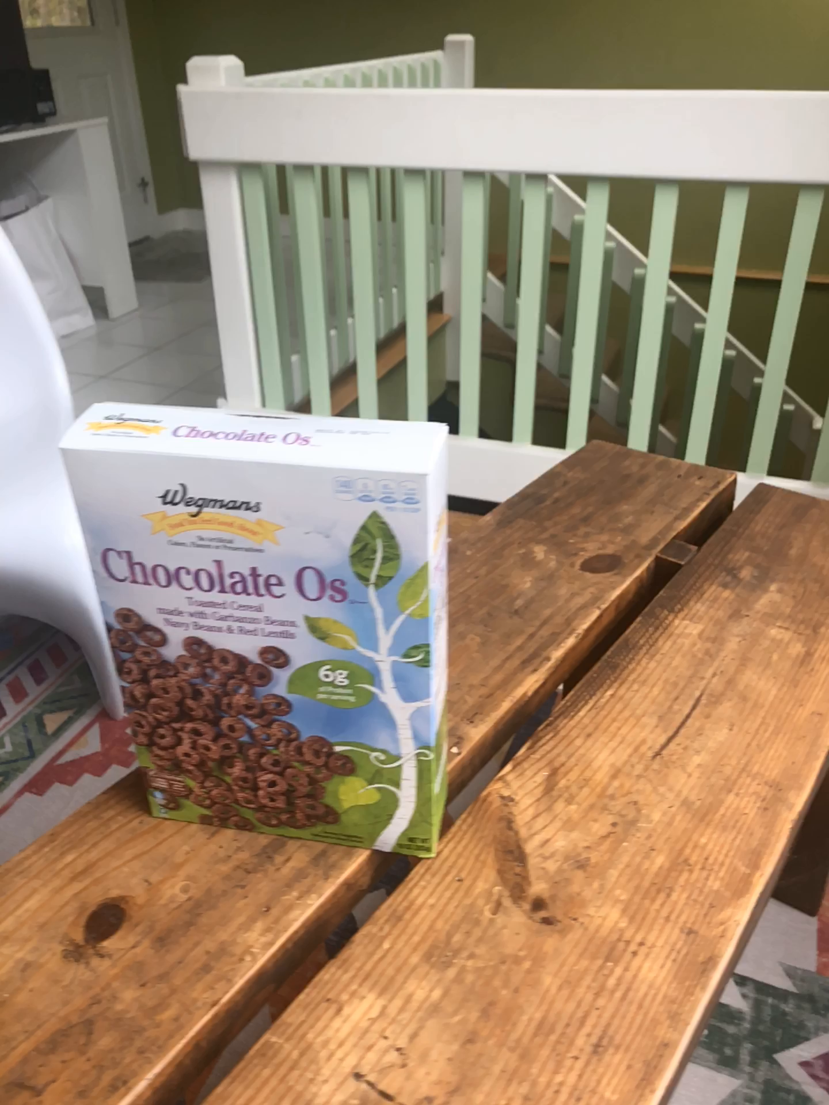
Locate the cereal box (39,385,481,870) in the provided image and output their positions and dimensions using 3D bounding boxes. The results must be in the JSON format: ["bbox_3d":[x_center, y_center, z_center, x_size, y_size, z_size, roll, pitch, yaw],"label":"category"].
[{"bbox_3d":[-0.073,0.052,0.528,0.210,0.278,0.060,5,33,10],"label":"cereal box"}]
